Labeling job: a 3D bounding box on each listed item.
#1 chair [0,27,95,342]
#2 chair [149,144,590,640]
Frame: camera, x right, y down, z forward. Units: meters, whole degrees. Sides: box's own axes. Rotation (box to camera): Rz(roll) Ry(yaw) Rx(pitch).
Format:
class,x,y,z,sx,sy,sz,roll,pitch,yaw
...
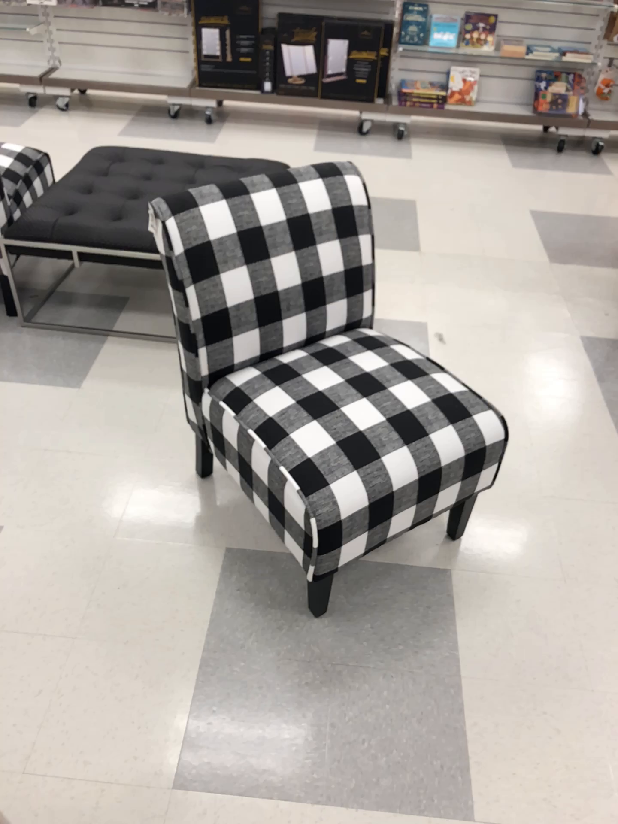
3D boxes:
class,x,y,z,sx,sy,sz,roll,pitch,yaw
chair,-1.269,-0.835,2.481,0.624,0.832,0.733,5,40,2
chair,0.083,-0.084,1.687,0.626,0.832,0.701,-22,46,-27
